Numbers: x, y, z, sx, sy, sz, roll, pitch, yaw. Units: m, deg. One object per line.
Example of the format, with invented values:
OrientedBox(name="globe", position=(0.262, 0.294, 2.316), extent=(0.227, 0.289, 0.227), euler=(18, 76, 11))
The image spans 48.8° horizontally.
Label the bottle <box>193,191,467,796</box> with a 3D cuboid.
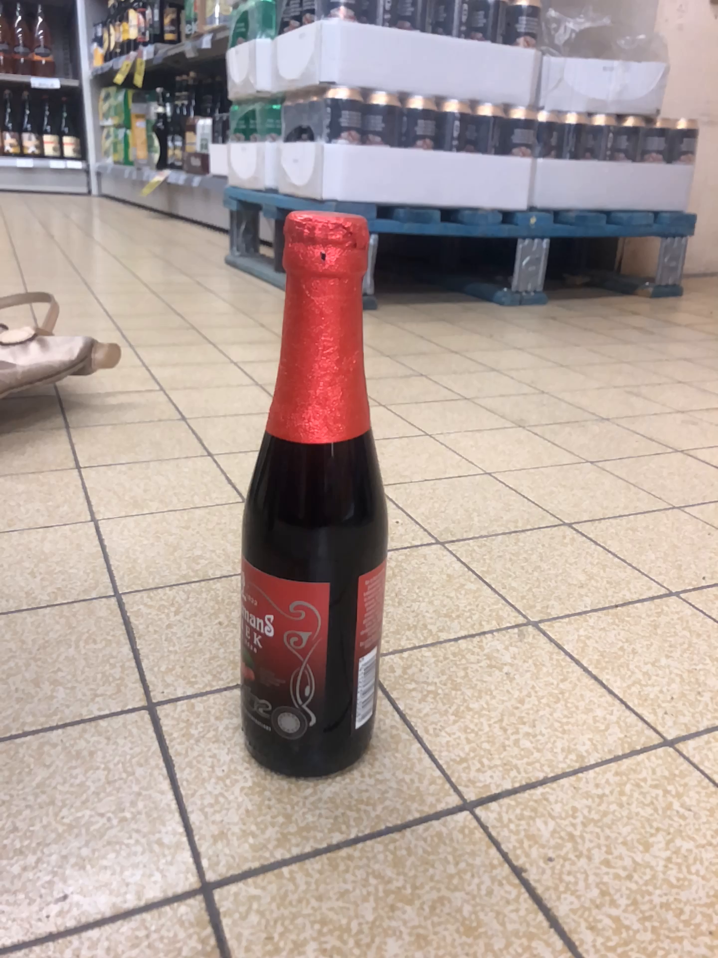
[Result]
OrientedBox(name="bottle", position=(-0.018, 0.004, 0.287), extent=(0.070, 0.199, 0.070), euler=(3, 20, -1))
